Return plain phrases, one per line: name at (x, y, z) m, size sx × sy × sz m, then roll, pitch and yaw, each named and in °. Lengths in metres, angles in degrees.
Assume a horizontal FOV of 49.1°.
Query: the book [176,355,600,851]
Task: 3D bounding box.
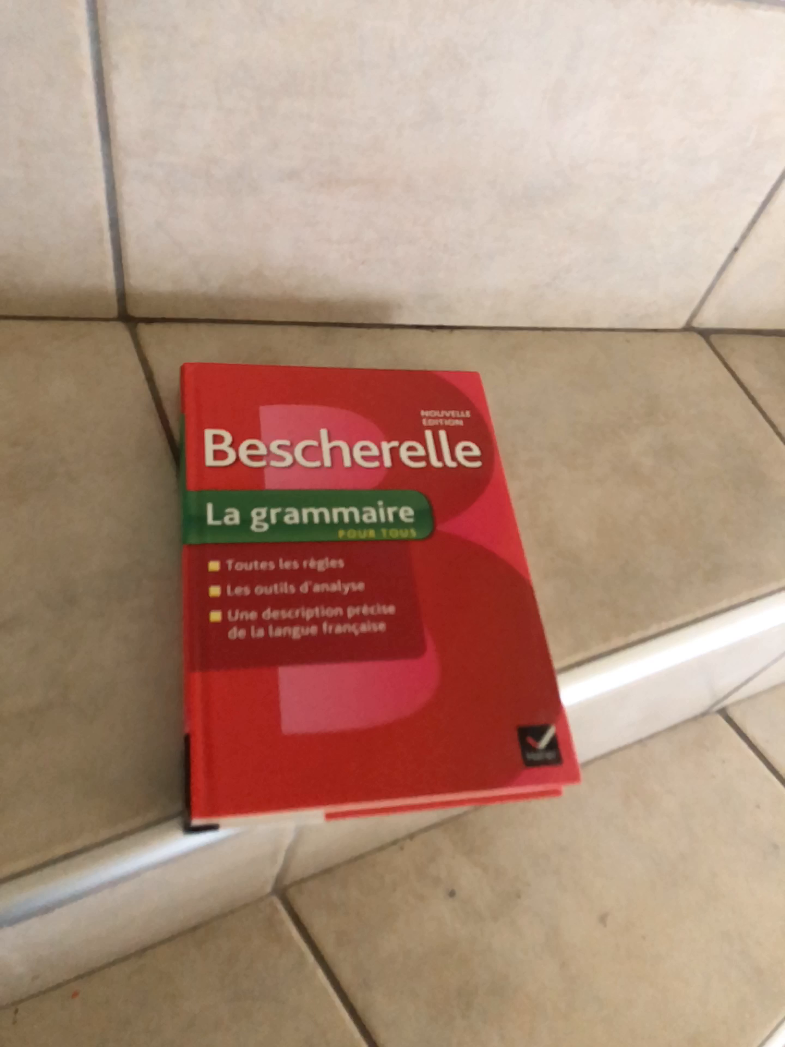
book at (-0.012, 0.016, 0.345) m, size 0.143 × 0.020 × 0.202 m, roll -1°, pitch 58°, yaw -14°
